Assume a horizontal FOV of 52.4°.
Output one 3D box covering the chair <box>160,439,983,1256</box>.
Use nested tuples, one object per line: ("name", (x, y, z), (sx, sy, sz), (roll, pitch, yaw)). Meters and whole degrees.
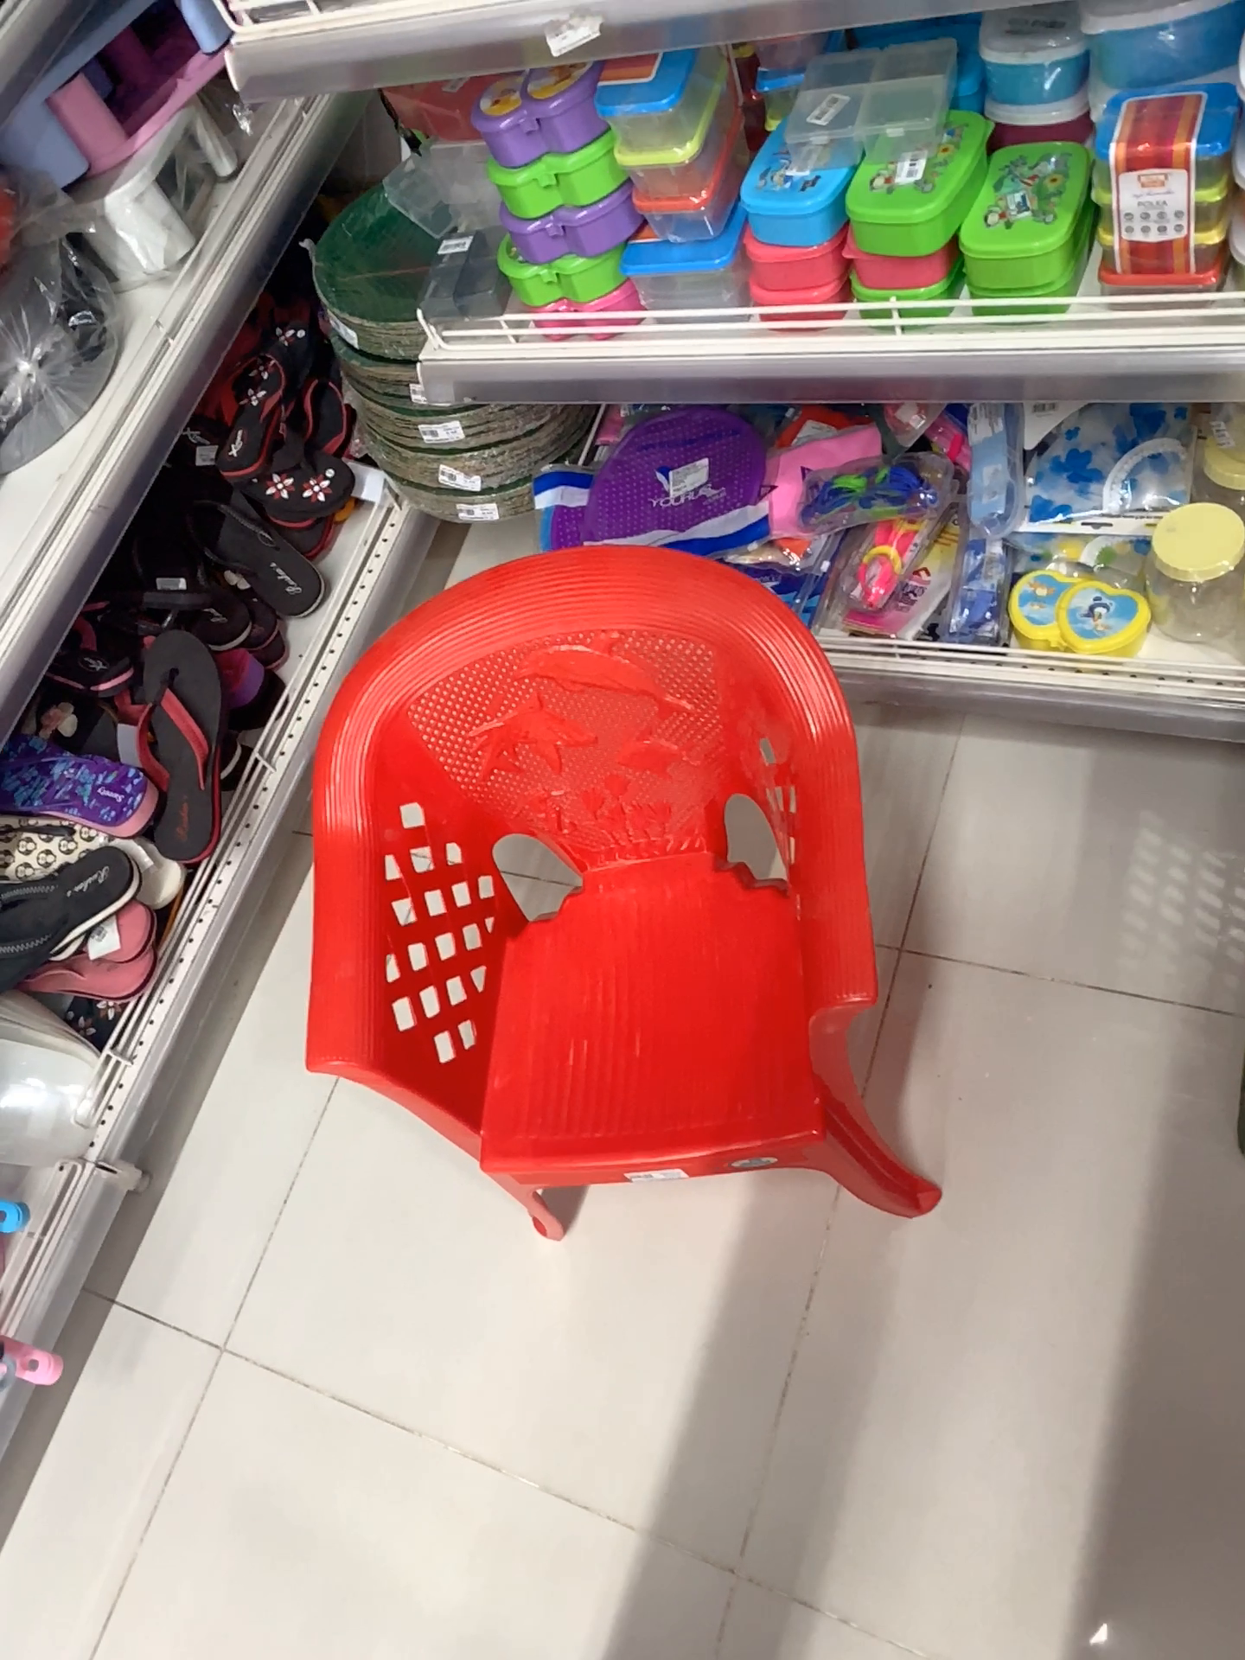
("chair", (0.007, 0.067, 1.102), (0.501, 0.478, 0.491), (-8, 60, 18))
